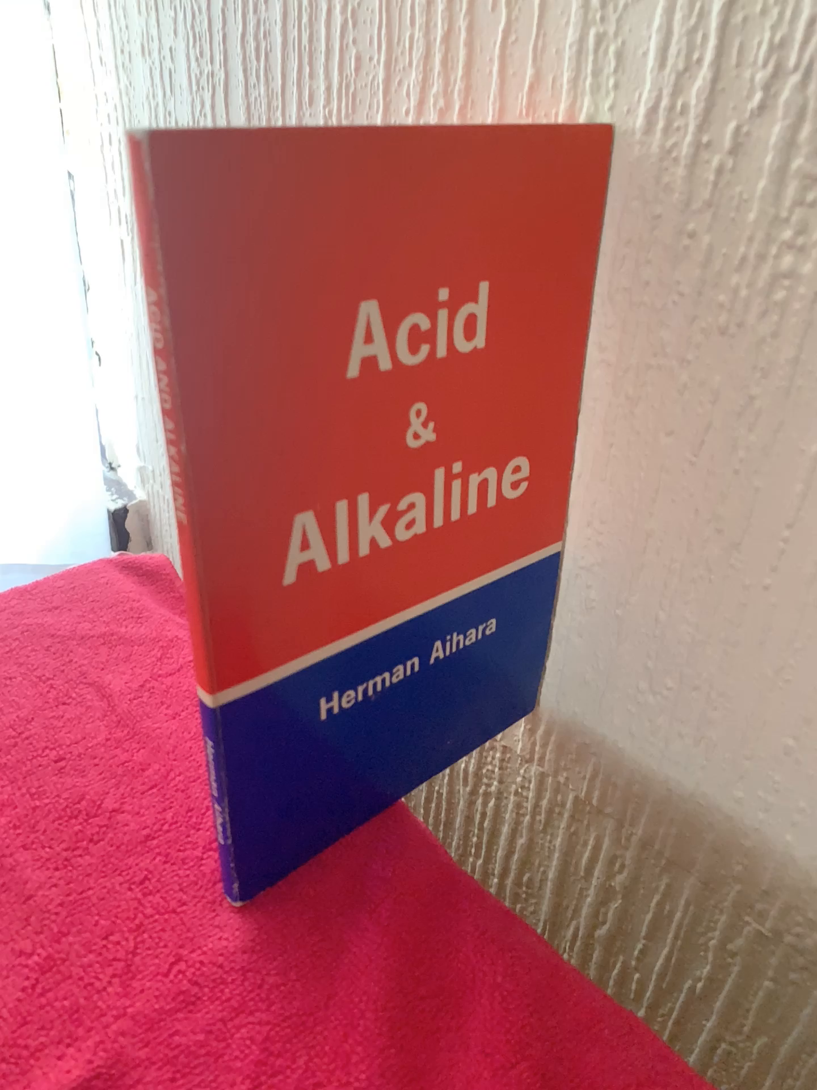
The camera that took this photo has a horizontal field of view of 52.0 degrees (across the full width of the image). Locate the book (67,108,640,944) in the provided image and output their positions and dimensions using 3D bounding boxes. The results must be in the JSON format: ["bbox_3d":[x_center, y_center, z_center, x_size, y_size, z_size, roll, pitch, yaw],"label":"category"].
[{"bbox_3d":[0.000,-0.007,0.240,0.151,0.208,0.020,-23,35,-36],"label":"book"}]
